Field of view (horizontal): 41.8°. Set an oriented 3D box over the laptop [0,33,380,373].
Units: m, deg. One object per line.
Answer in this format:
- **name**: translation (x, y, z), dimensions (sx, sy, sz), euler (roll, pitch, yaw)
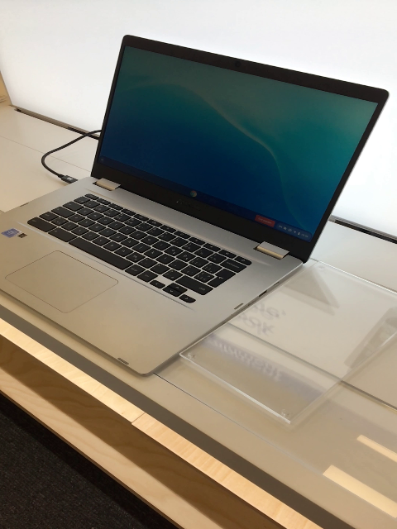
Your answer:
- **laptop**: translation (-0.078, -0.102, 0.616), dimensions (0.358, 0.198, 0.342), euler (30, 52, 29)
